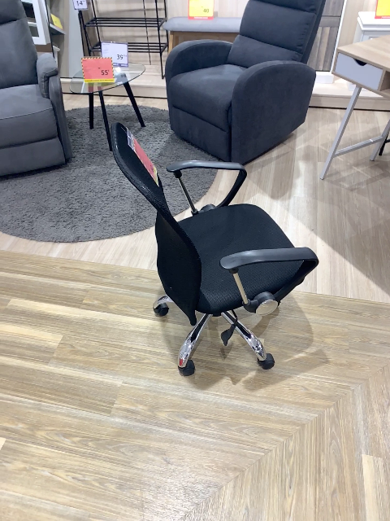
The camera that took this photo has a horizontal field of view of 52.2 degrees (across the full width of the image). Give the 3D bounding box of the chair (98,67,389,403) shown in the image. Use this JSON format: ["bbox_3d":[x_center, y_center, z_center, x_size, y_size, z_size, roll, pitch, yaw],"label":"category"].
[{"bbox_3d":[0.092,-0.085,1.411,0.601,0.866,0.643,-14,45,-12],"label":"chair"}]
